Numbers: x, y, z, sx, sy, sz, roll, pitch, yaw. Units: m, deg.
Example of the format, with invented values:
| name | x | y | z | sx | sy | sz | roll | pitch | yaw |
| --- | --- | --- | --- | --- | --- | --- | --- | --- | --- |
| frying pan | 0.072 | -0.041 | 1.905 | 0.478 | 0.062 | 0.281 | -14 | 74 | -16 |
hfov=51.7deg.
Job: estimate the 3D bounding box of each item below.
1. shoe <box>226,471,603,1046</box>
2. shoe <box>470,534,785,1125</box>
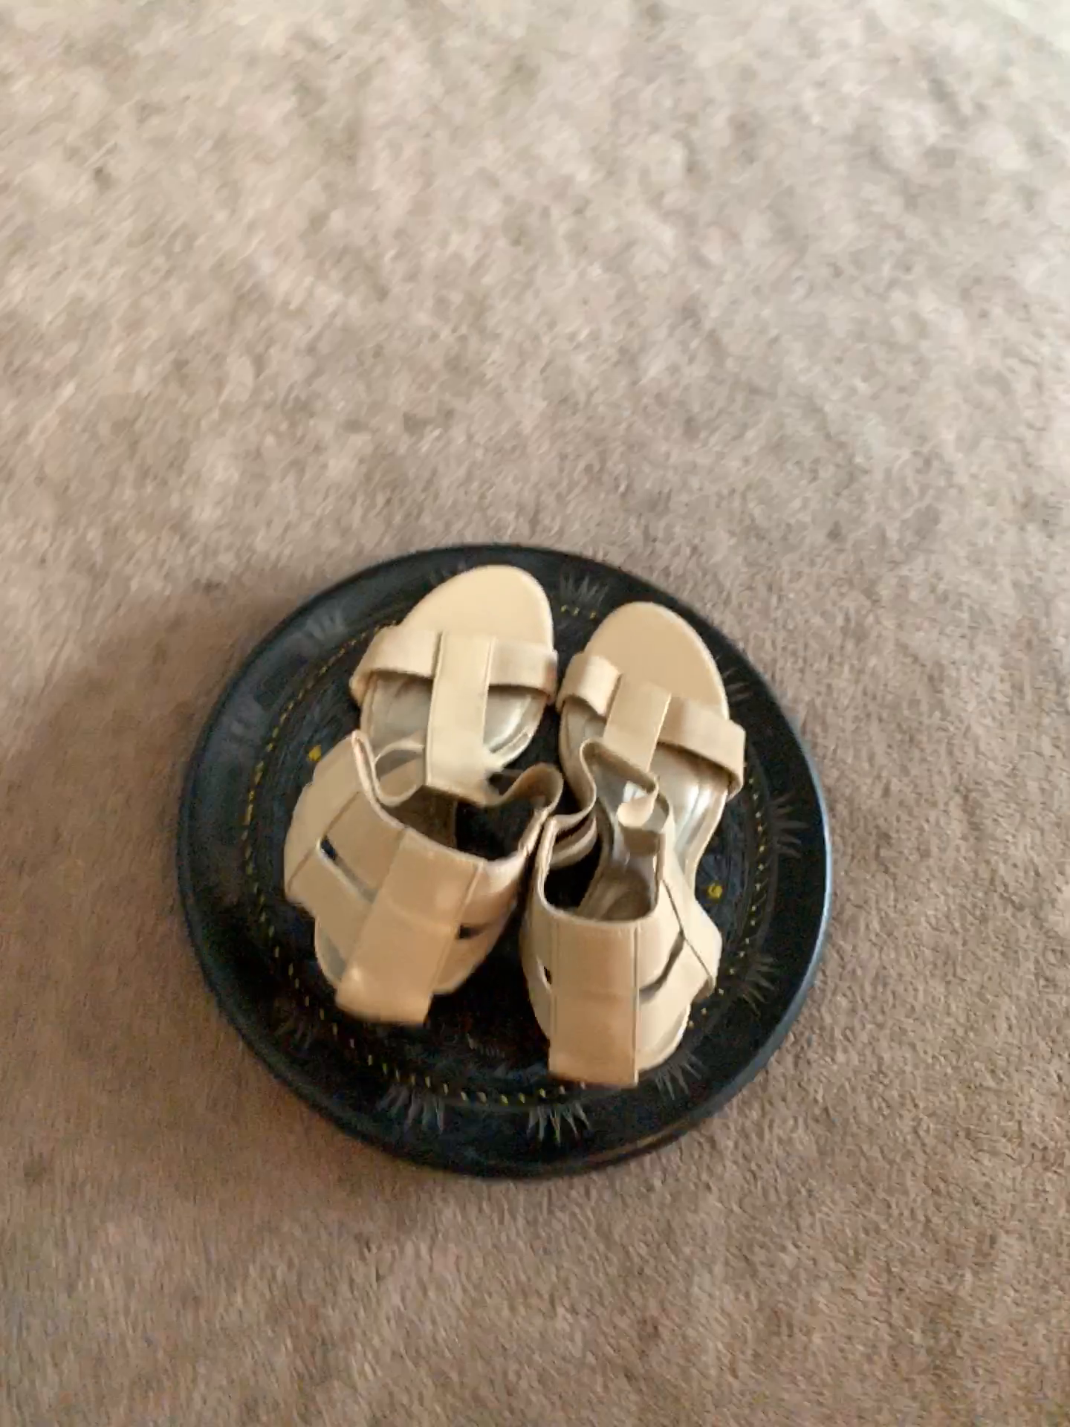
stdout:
| name | x | y | z | sx | sy | sz | roll | pitch | yaw |
| --- | --- | --- | --- | --- | --- | --- | --- | --- | --- |
| shoe | -0.044 | 0.009 | 0.471 | 0.090 | 0.089 | 0.221 | 17 | 49 | 0 |
| shoe | 0.045 | 0.037 | 0.474 | 0.100 | 0.089 | 0.231 | 9 | 48 | 5 |
